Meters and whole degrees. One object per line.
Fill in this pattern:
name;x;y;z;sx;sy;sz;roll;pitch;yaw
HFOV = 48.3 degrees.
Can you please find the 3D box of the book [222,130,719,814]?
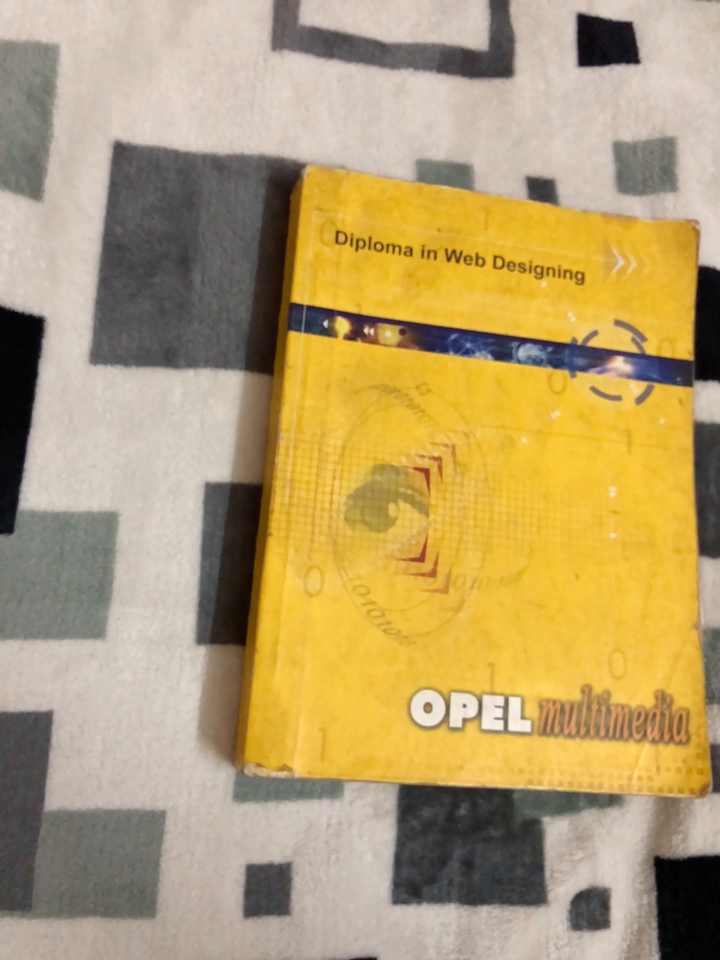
book;0.059;-0.006;0.413;0.220;0.070;0.310;6;76;-7
